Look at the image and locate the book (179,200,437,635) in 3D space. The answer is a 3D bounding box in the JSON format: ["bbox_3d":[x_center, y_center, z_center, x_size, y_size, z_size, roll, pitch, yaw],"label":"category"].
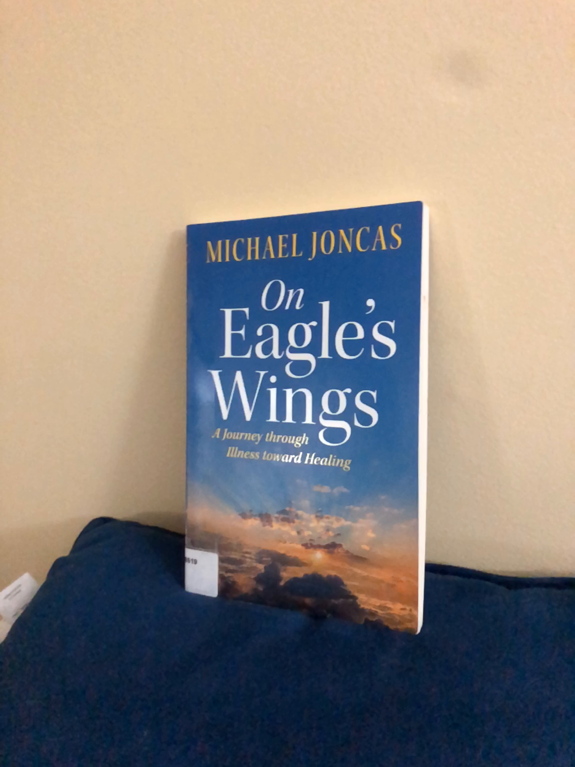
[{"bbox_3d":[0.006,0.015,0.345,0.139,0.211,0.014,2,1,25],"label":"book"}]
